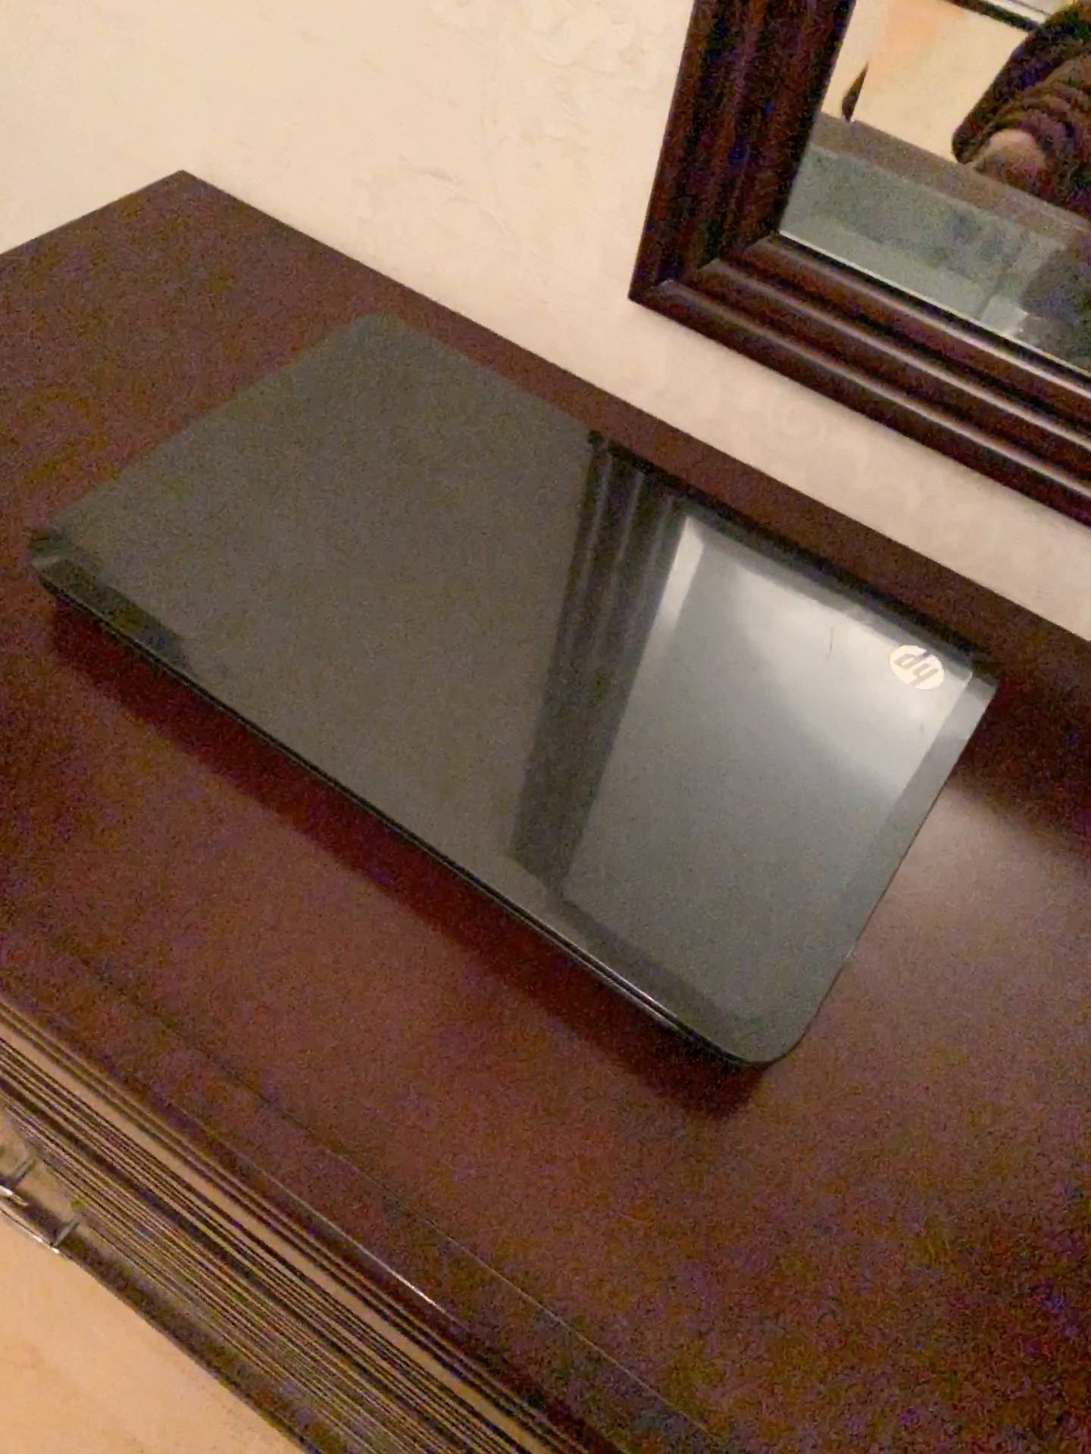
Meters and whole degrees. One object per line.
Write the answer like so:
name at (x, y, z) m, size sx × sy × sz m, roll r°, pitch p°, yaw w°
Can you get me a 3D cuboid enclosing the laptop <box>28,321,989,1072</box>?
laptop at (-0.004, -0.044, 0.475) m, size 0.341 × 0.007 × 0.224 m, roll 33°, pitch 55°, yaw 11°
